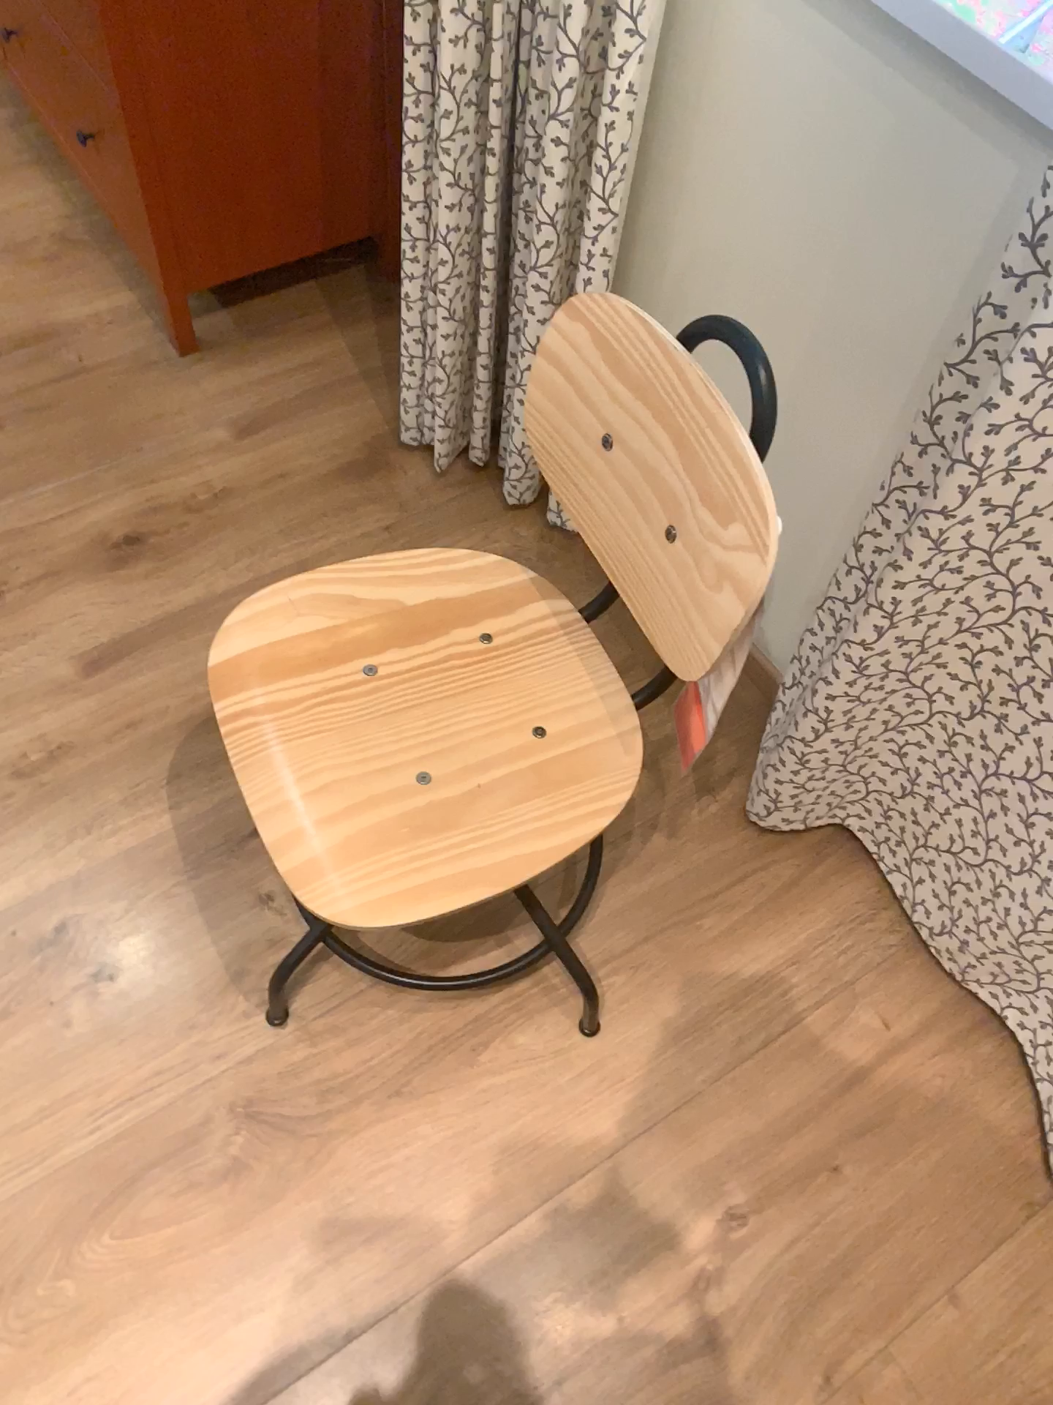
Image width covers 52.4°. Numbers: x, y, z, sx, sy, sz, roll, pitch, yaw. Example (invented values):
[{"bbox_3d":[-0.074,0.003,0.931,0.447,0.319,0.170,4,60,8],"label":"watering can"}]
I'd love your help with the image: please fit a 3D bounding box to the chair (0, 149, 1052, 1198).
[{"bbox_3d":[-0.073,0.001,1.007,0.620,0.648,0.561,-20,62,-17],"label":"chair"}]
